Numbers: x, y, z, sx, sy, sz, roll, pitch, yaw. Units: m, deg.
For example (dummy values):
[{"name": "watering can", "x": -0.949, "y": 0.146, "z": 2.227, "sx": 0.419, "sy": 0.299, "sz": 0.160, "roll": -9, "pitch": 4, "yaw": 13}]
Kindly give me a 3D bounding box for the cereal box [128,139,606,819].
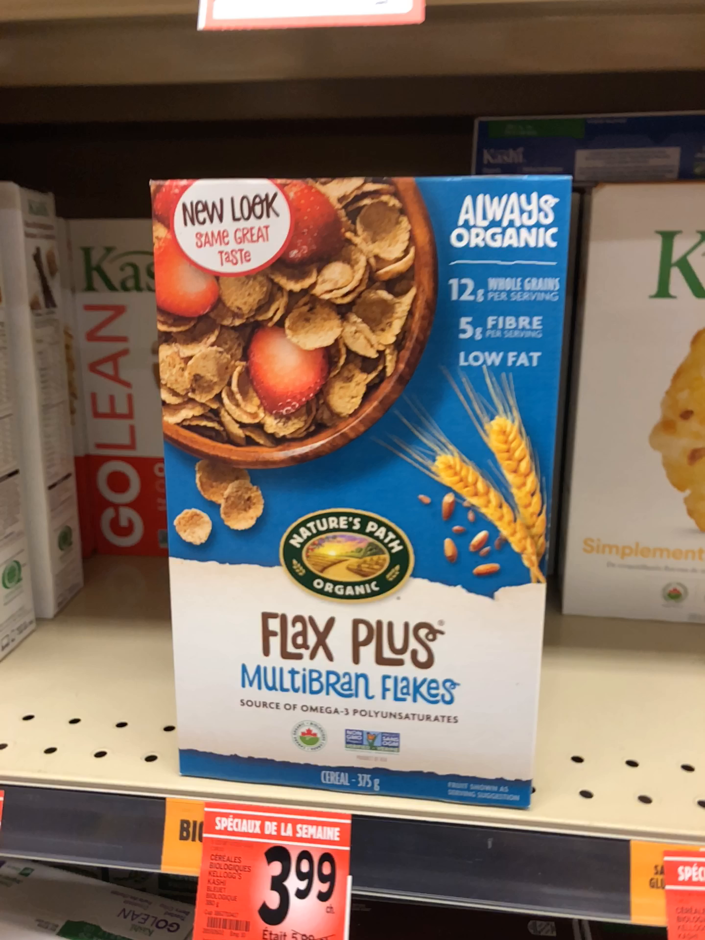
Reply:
[{"name": "cereal box", "x": 0.007, "y": 0.005, "z": 0.344, "sx": 0.170, "sy": 0.269, "sz": 0.070, "roll": 2, "pitch": 15, "yaw": 9}]
